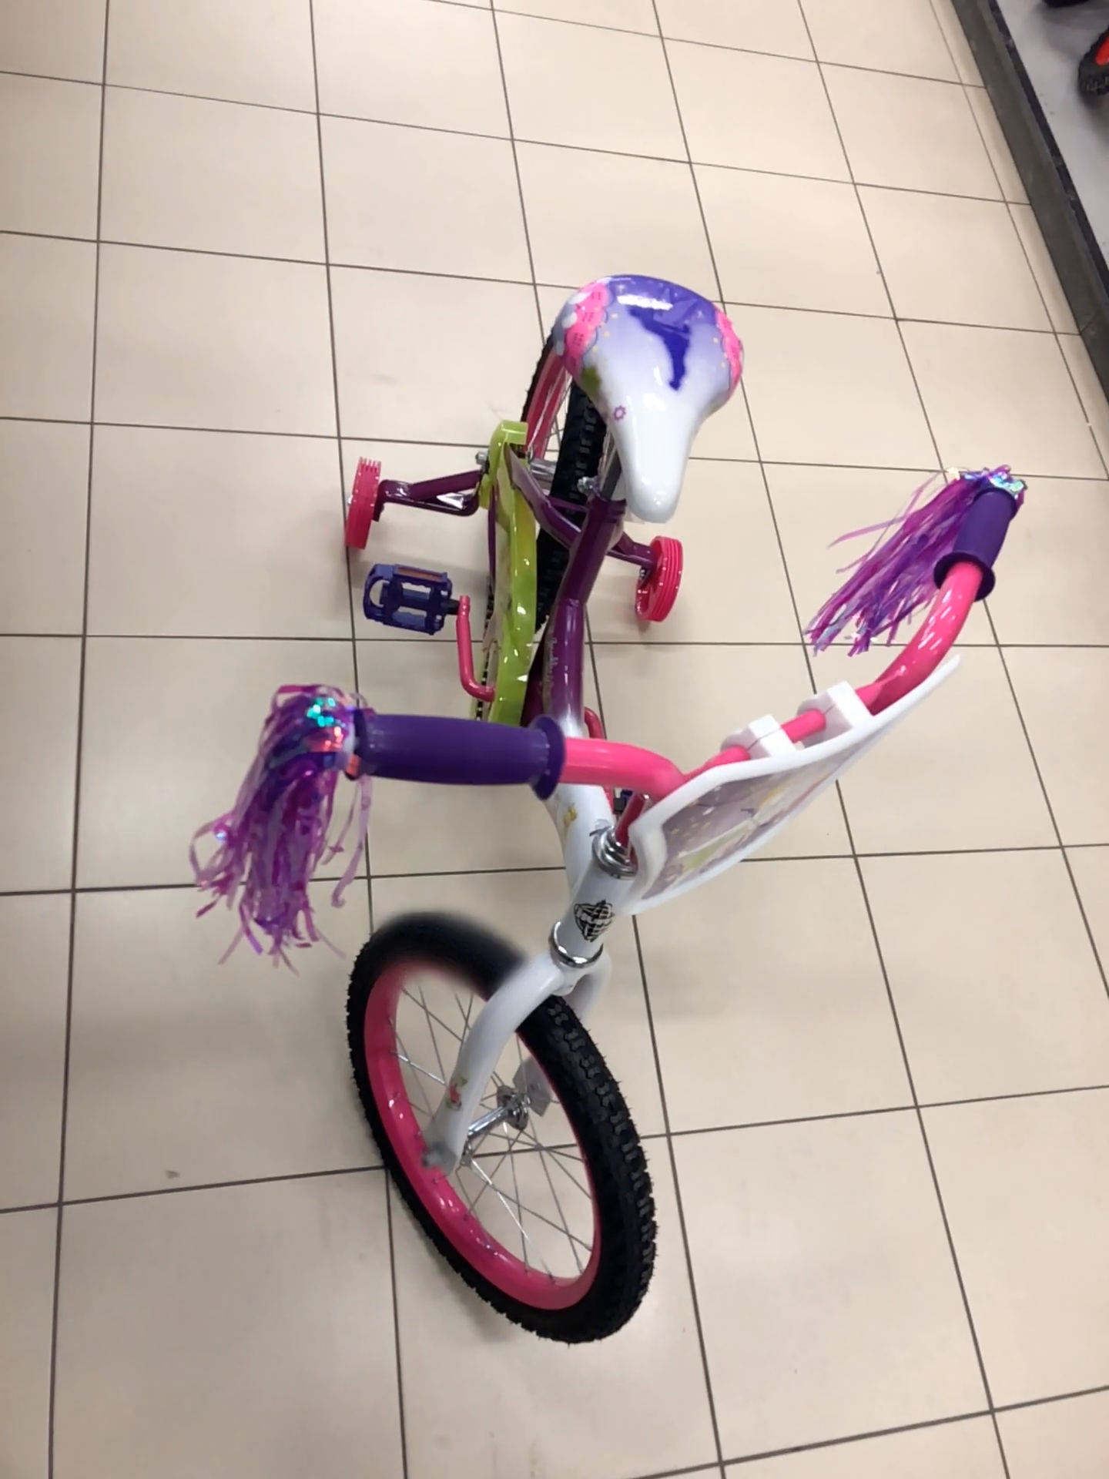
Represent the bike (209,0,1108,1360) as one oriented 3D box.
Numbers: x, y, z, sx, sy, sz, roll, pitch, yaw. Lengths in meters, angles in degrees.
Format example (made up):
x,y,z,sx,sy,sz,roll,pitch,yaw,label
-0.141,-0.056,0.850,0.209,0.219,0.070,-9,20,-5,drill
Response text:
x,y,z,sx,sy,sz,roll,pitch,yaw,label
0.063,-0.092,1.028,0.595,0.811,1.069,5,64,-14,bike
